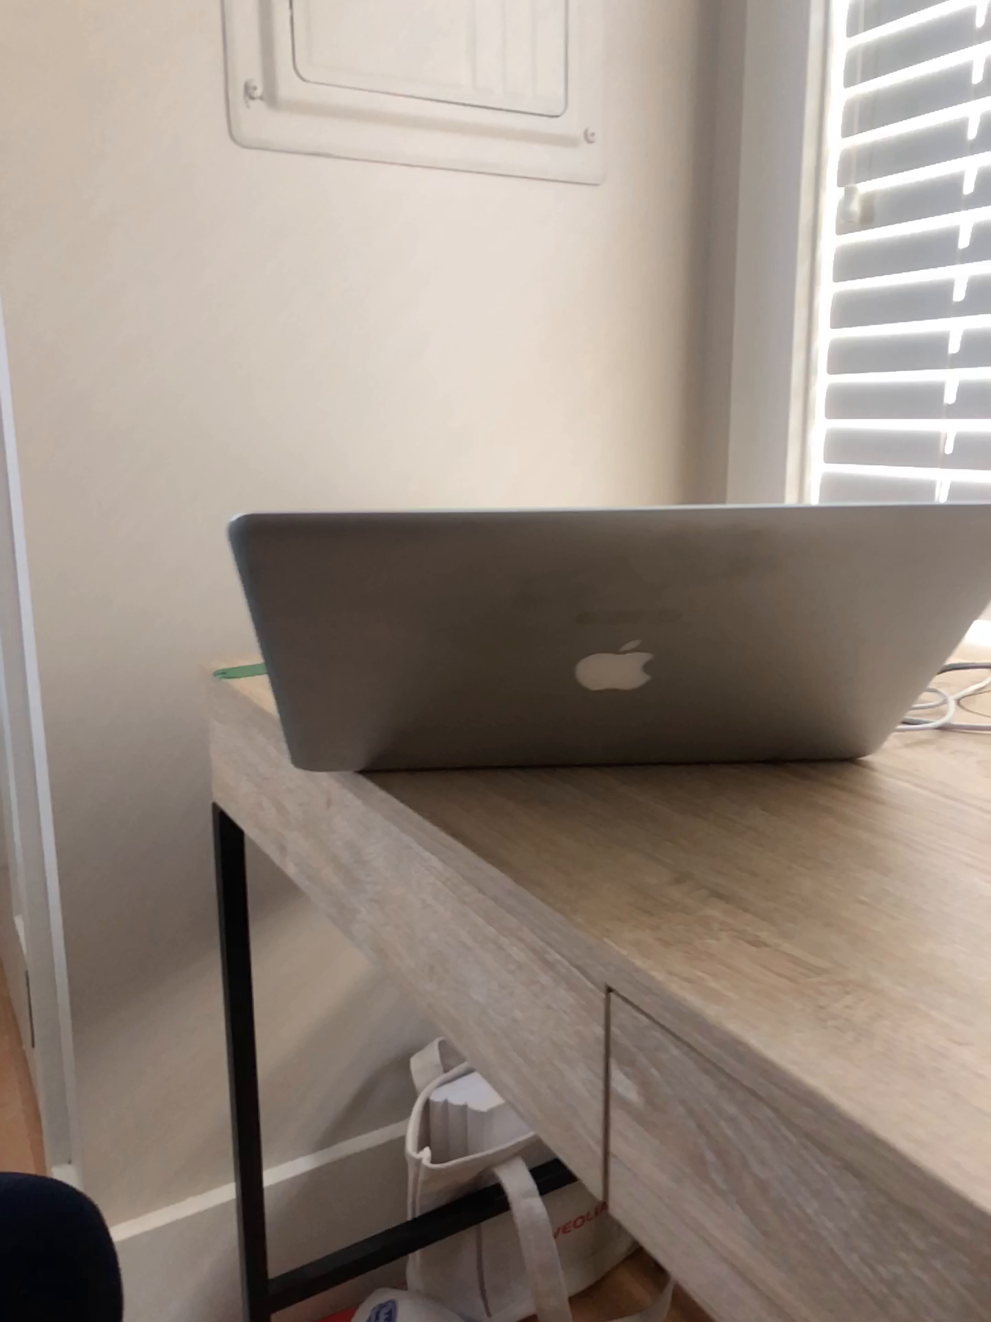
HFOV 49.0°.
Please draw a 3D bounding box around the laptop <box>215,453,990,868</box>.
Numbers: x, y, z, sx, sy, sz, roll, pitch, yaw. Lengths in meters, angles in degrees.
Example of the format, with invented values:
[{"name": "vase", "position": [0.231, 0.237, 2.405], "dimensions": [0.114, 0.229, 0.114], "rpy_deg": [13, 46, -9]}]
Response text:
[{"name": "laptop", "position": [0.043, -0.031, 0.593], "dimensions": [0.319, 0.133, 0.347], "rpy_deg": [-1, 14, -4]}]
